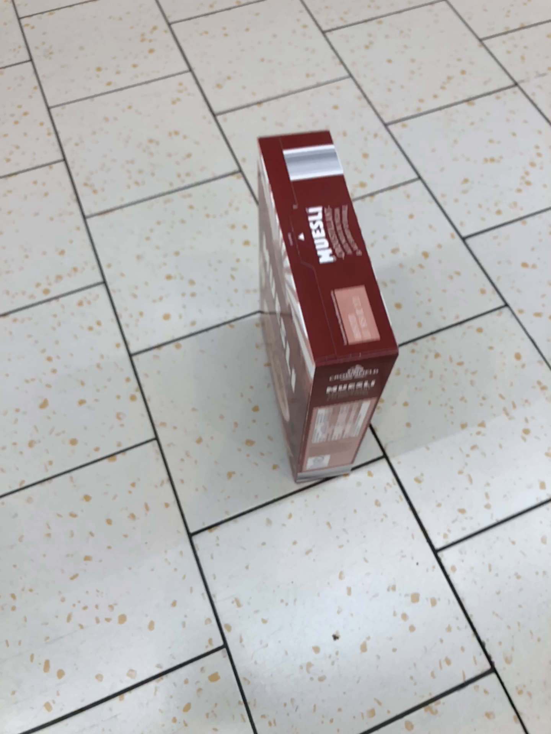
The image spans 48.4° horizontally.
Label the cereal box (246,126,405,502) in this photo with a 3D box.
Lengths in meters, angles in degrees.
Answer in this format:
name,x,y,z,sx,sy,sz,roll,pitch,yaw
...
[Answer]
name,x,y,z,sx,sy,sz,roll,pitch,yaw
cereal box,0.027,-0.024,0.501,0.060,0.249,0.201,-9,64,-4
